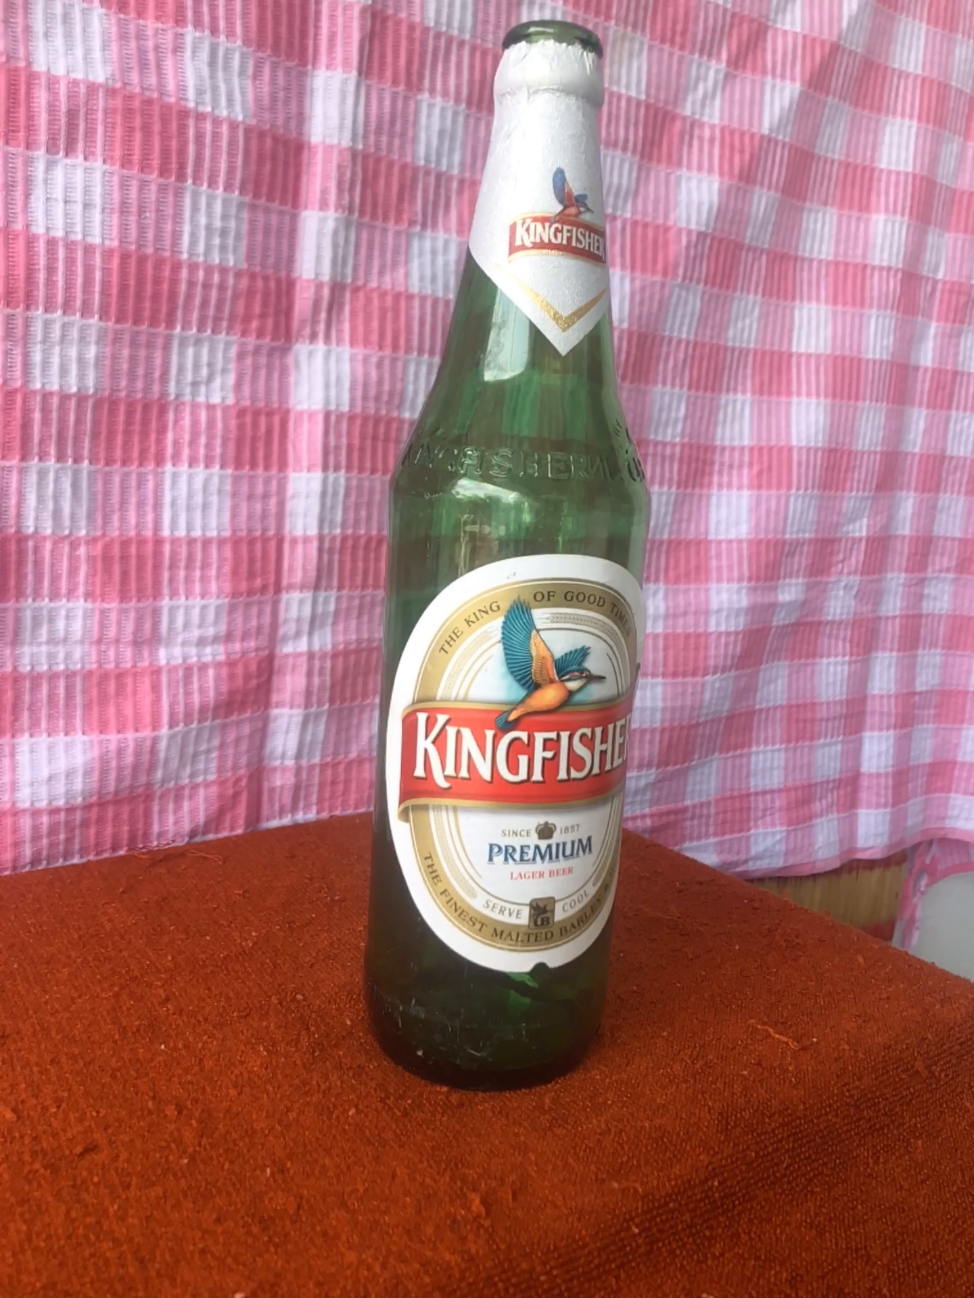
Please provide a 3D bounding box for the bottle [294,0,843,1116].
[{"bbox_3d":[0.011,-0.028,0.303,0.090,0.289,0.080,4,11,-20],"label":"bottle"}]
